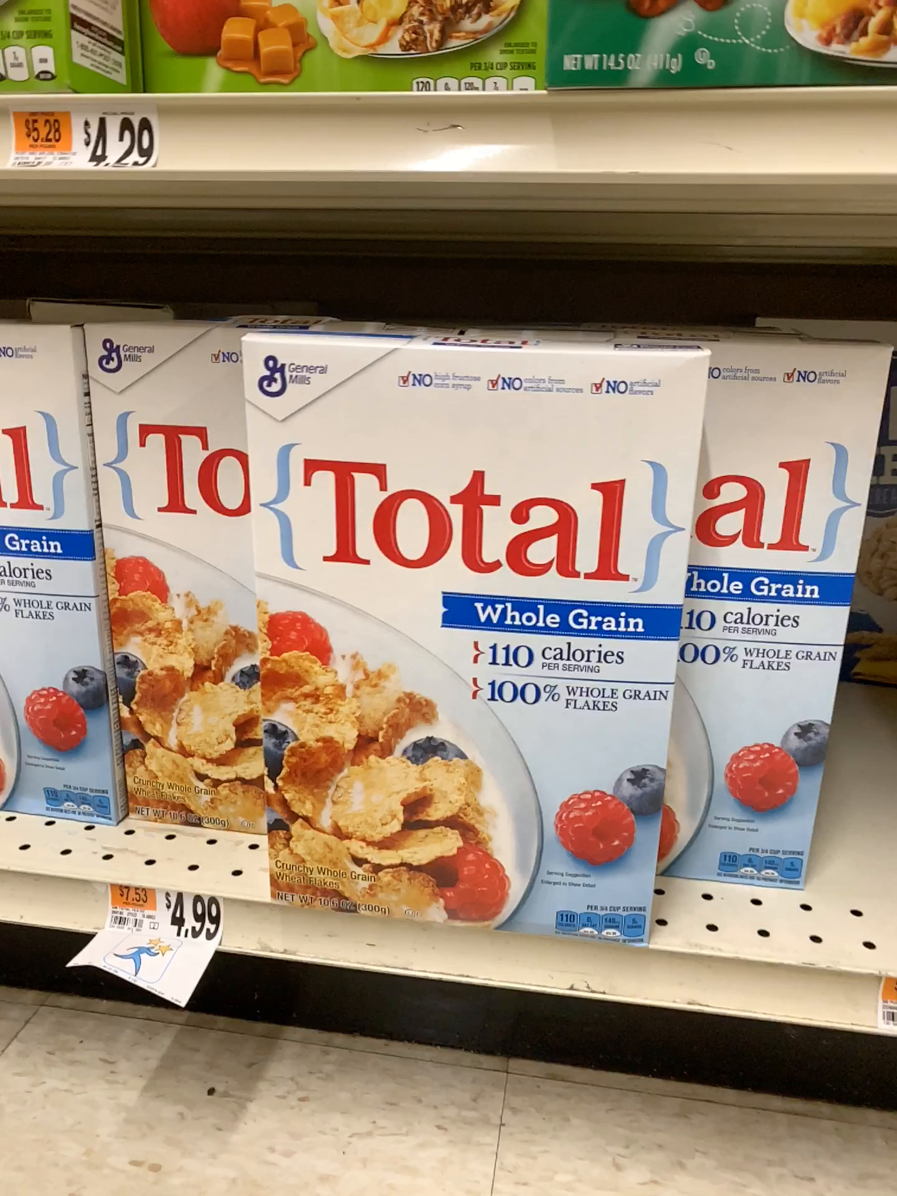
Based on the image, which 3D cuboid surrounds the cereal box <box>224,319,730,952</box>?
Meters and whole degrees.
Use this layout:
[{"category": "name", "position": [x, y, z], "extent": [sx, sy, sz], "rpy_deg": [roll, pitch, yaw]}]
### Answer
[{"category": "cereal box", "position": [0.009, 0.019, 0.427], "extent": [0.200, 0.279, 0.050], "rpy_deg": [4, 19, 9]}]
